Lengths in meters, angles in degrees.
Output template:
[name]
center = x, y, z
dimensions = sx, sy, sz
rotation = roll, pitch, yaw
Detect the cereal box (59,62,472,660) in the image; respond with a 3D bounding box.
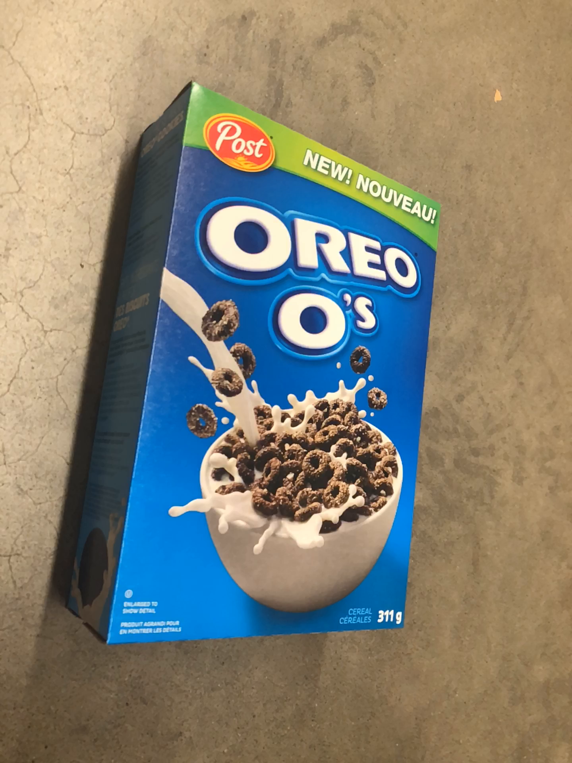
[cereal box]
center = 0.004, 0.001, 0.375
dimensions = 0.210, 0.070, 0.280
rotation = 12, 80, -33
